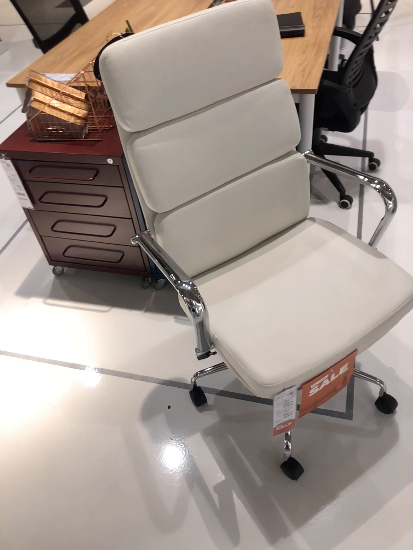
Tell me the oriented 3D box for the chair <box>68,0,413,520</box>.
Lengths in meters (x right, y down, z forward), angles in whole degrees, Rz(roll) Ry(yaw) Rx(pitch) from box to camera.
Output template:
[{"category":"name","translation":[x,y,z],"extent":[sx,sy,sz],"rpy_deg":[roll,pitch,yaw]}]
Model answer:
[{"category":"chair","translation":[0.235,-0.050,1.135],"extent":[0.662,1.012,0.653],"rpy_deg":[-28,48,-19]}]
